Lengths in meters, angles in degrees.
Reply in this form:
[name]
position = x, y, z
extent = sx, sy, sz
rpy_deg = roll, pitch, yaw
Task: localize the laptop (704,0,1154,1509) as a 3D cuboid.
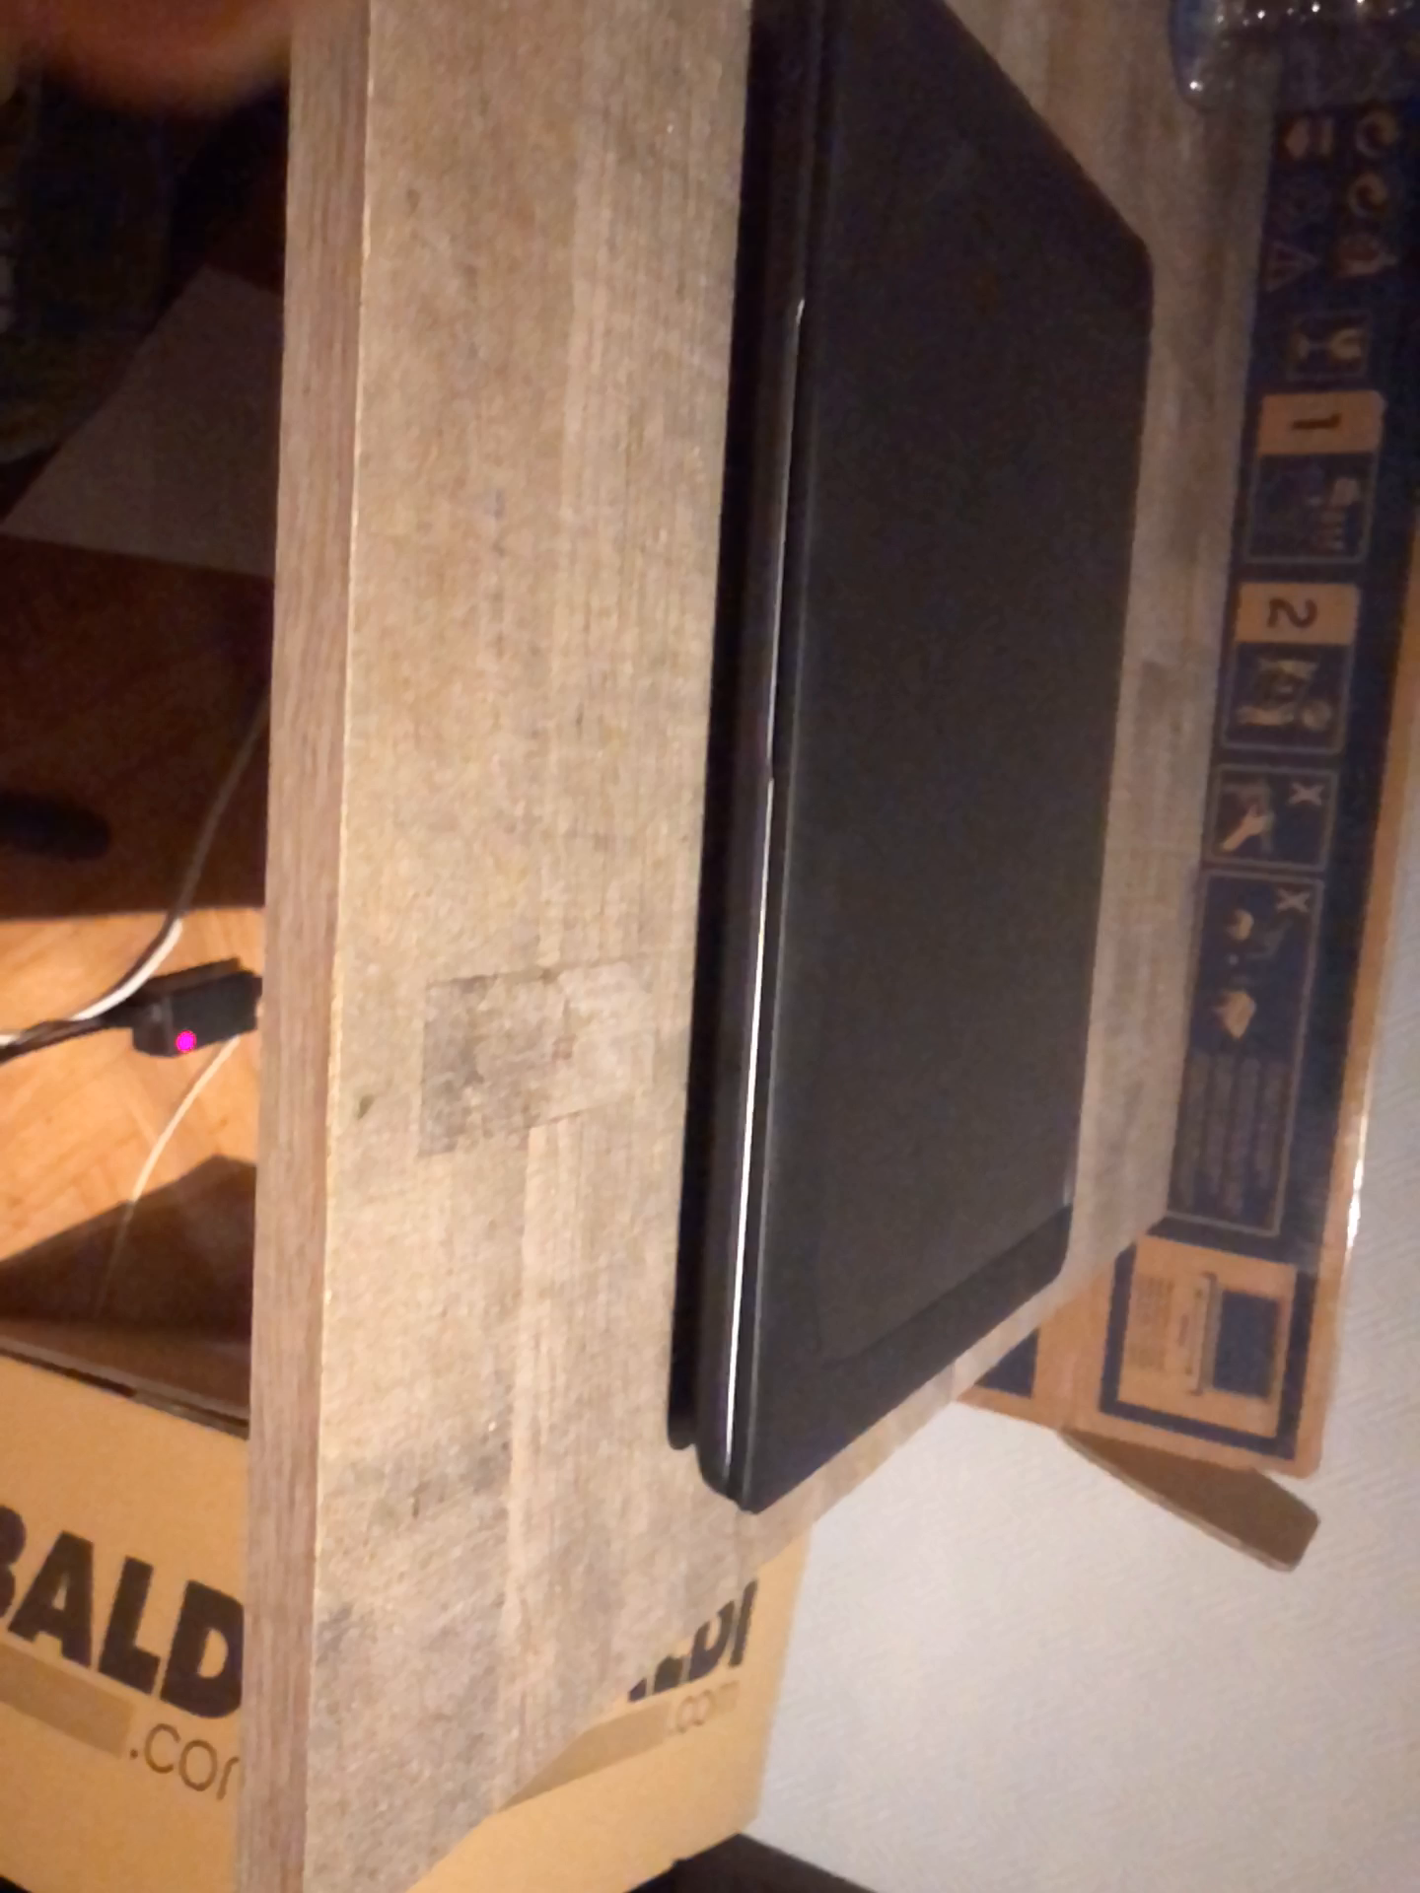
[laptop]
position = 0.077, -0.051, 0.475
extent = 0.242, 0.017, 0.365
rpy_deg = -9, 104, -59
